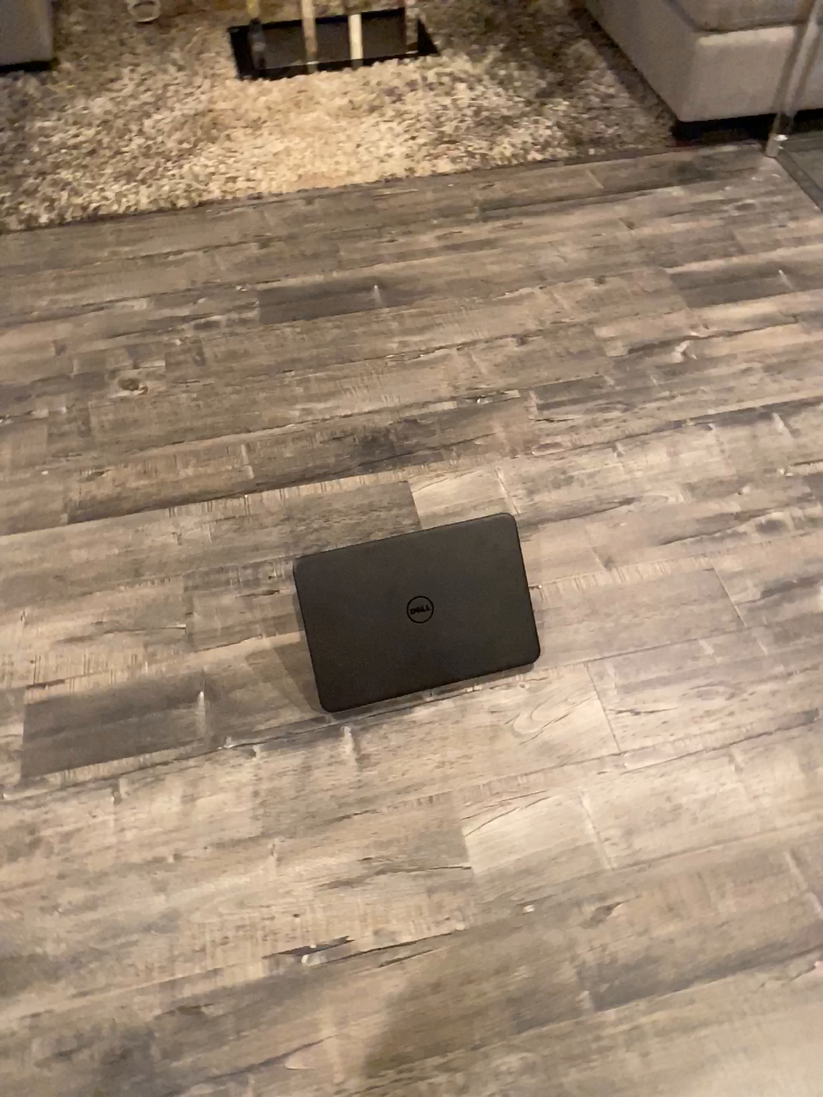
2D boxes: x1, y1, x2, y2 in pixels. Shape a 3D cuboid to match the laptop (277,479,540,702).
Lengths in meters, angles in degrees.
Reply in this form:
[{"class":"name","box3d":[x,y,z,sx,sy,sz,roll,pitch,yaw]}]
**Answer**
[{"class":"laptop","box3d":[-0.010,0.066,1.364,0.352,0.170,0.231,-13,56,-9]}]
